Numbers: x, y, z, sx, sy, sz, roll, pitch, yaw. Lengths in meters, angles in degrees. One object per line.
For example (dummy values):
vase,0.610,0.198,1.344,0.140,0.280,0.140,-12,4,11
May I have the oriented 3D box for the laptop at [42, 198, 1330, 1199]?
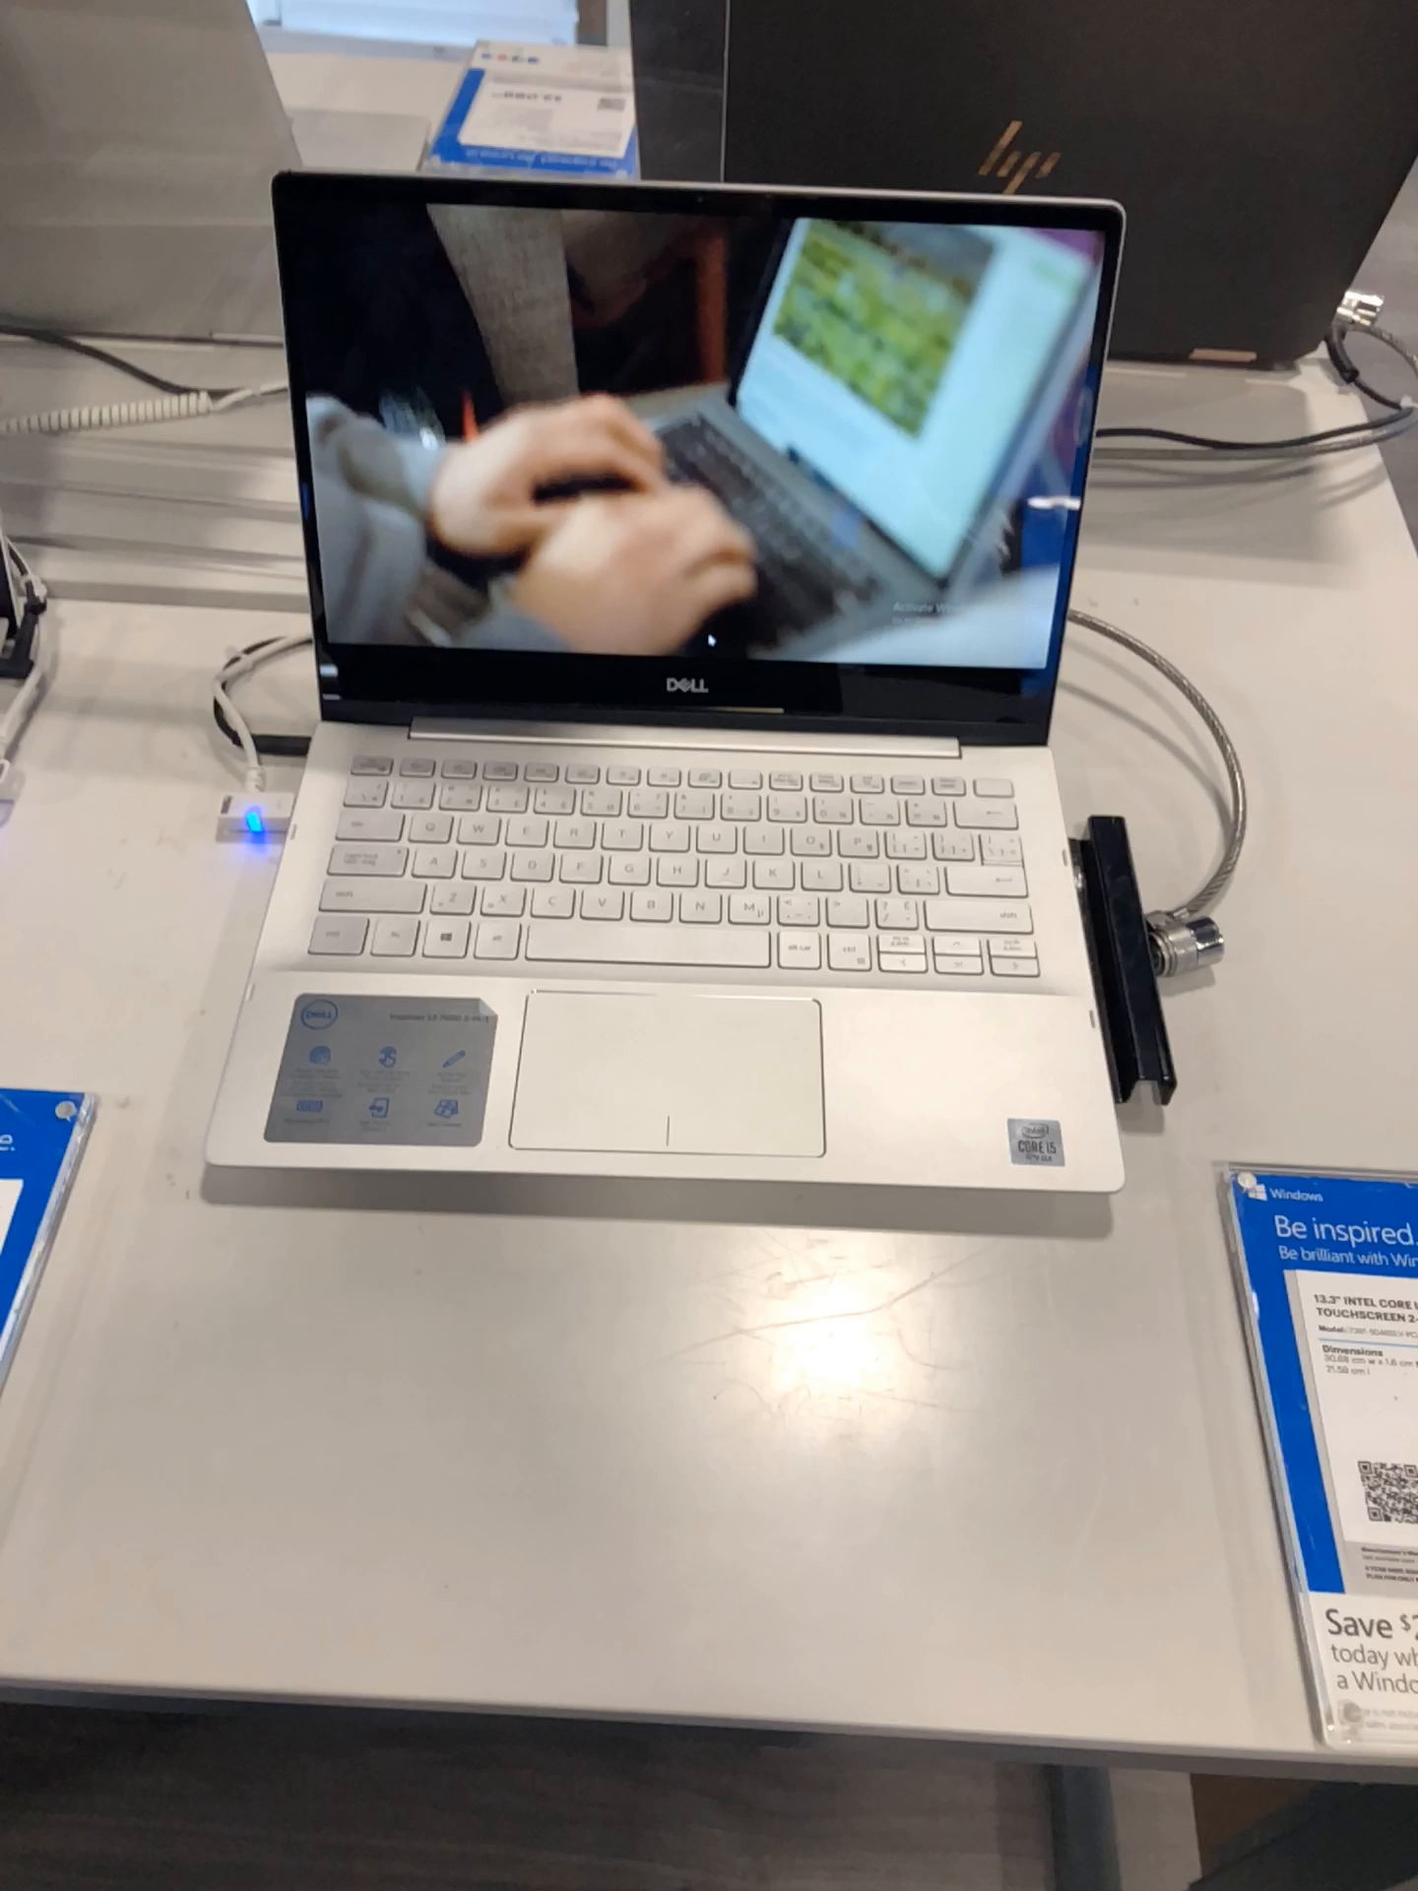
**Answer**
laptop,-0.007,-0.084,0.505,0.285,0.186,0.265,2,50,-1
